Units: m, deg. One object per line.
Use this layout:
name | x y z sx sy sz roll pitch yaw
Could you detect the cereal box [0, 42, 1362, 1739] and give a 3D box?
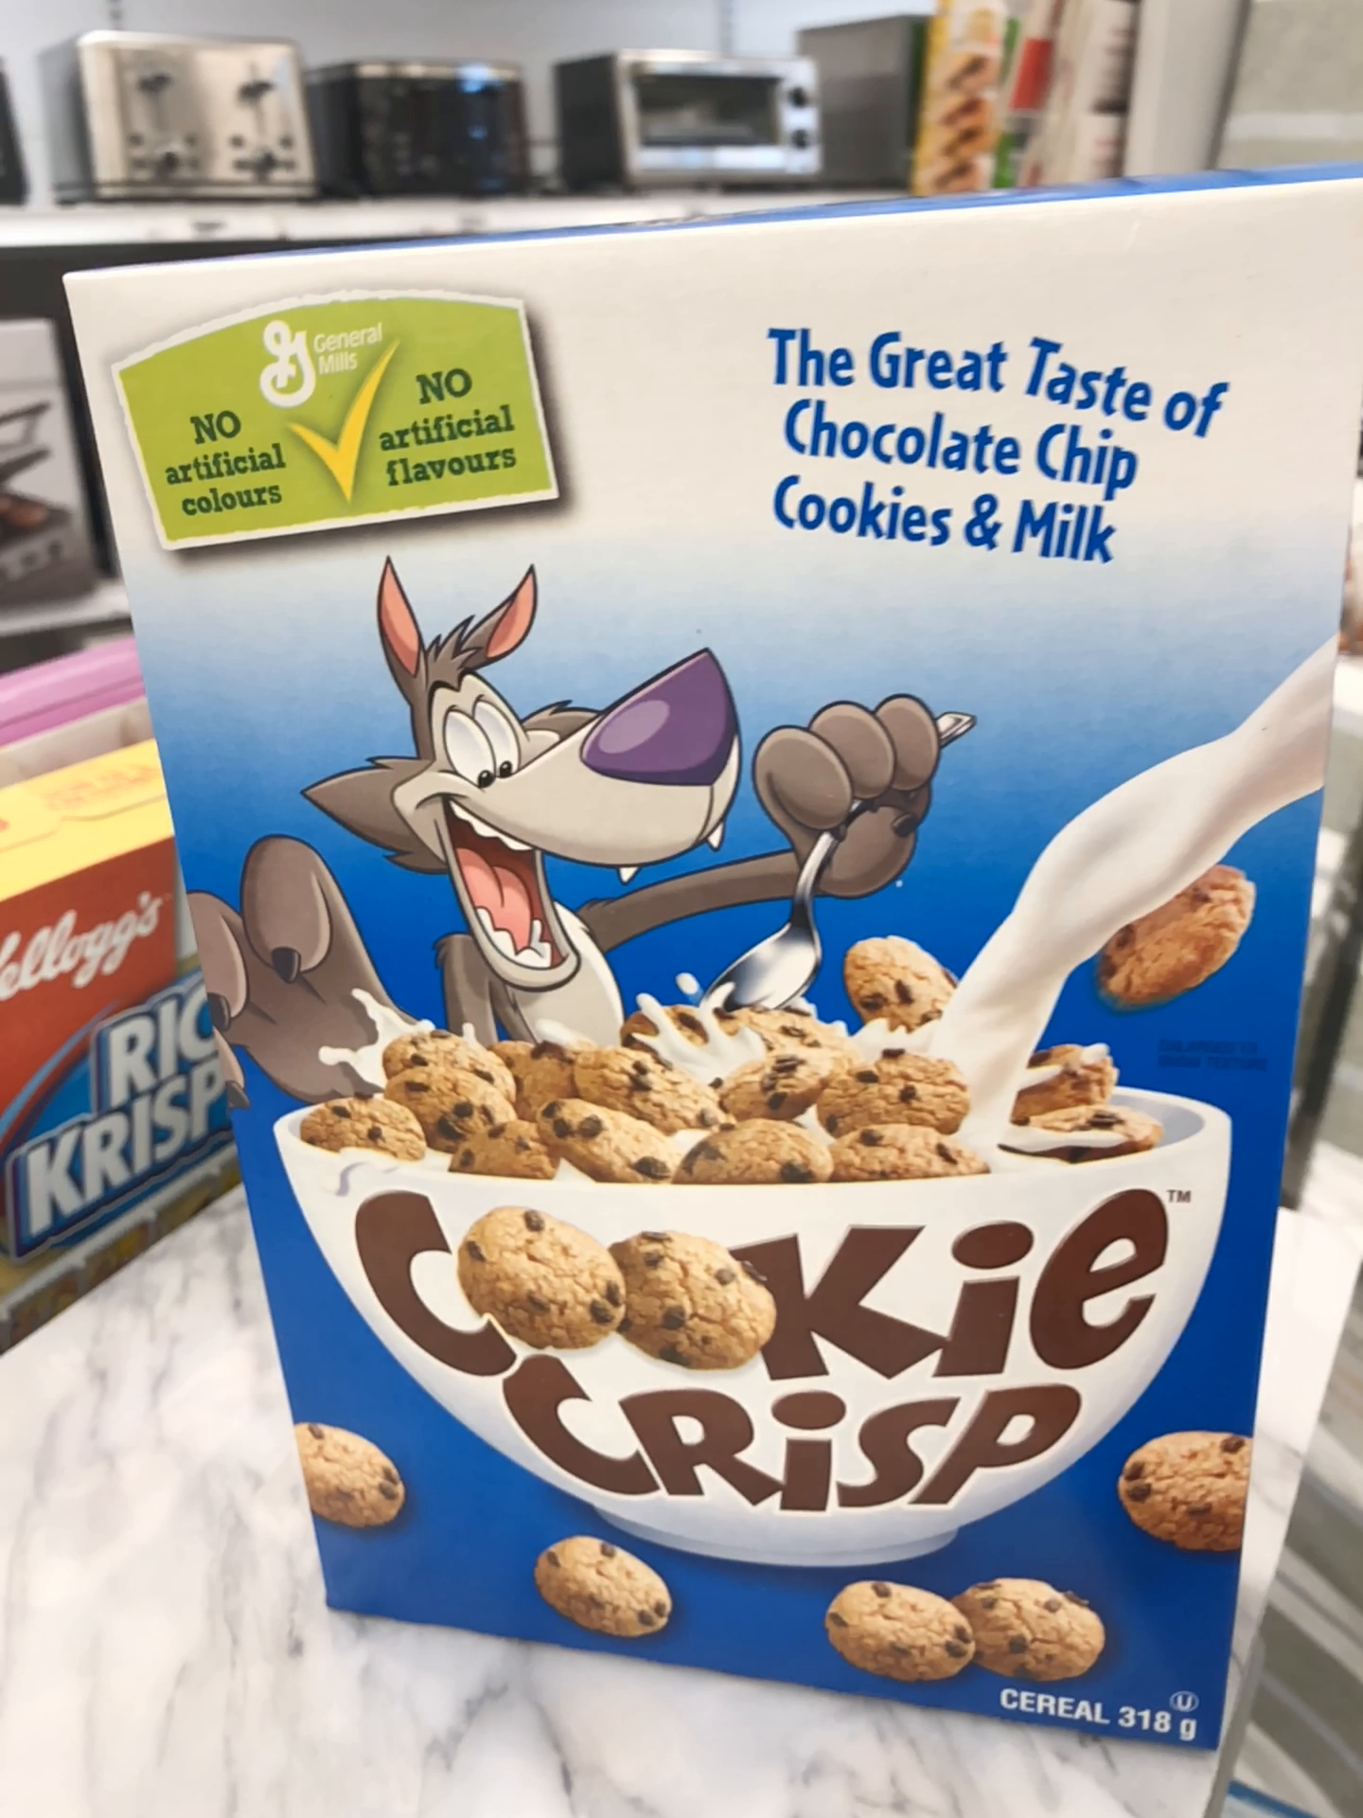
cereal box | 0.010 0.012 0.272 0.210 0.269 0.050 2 22 13
